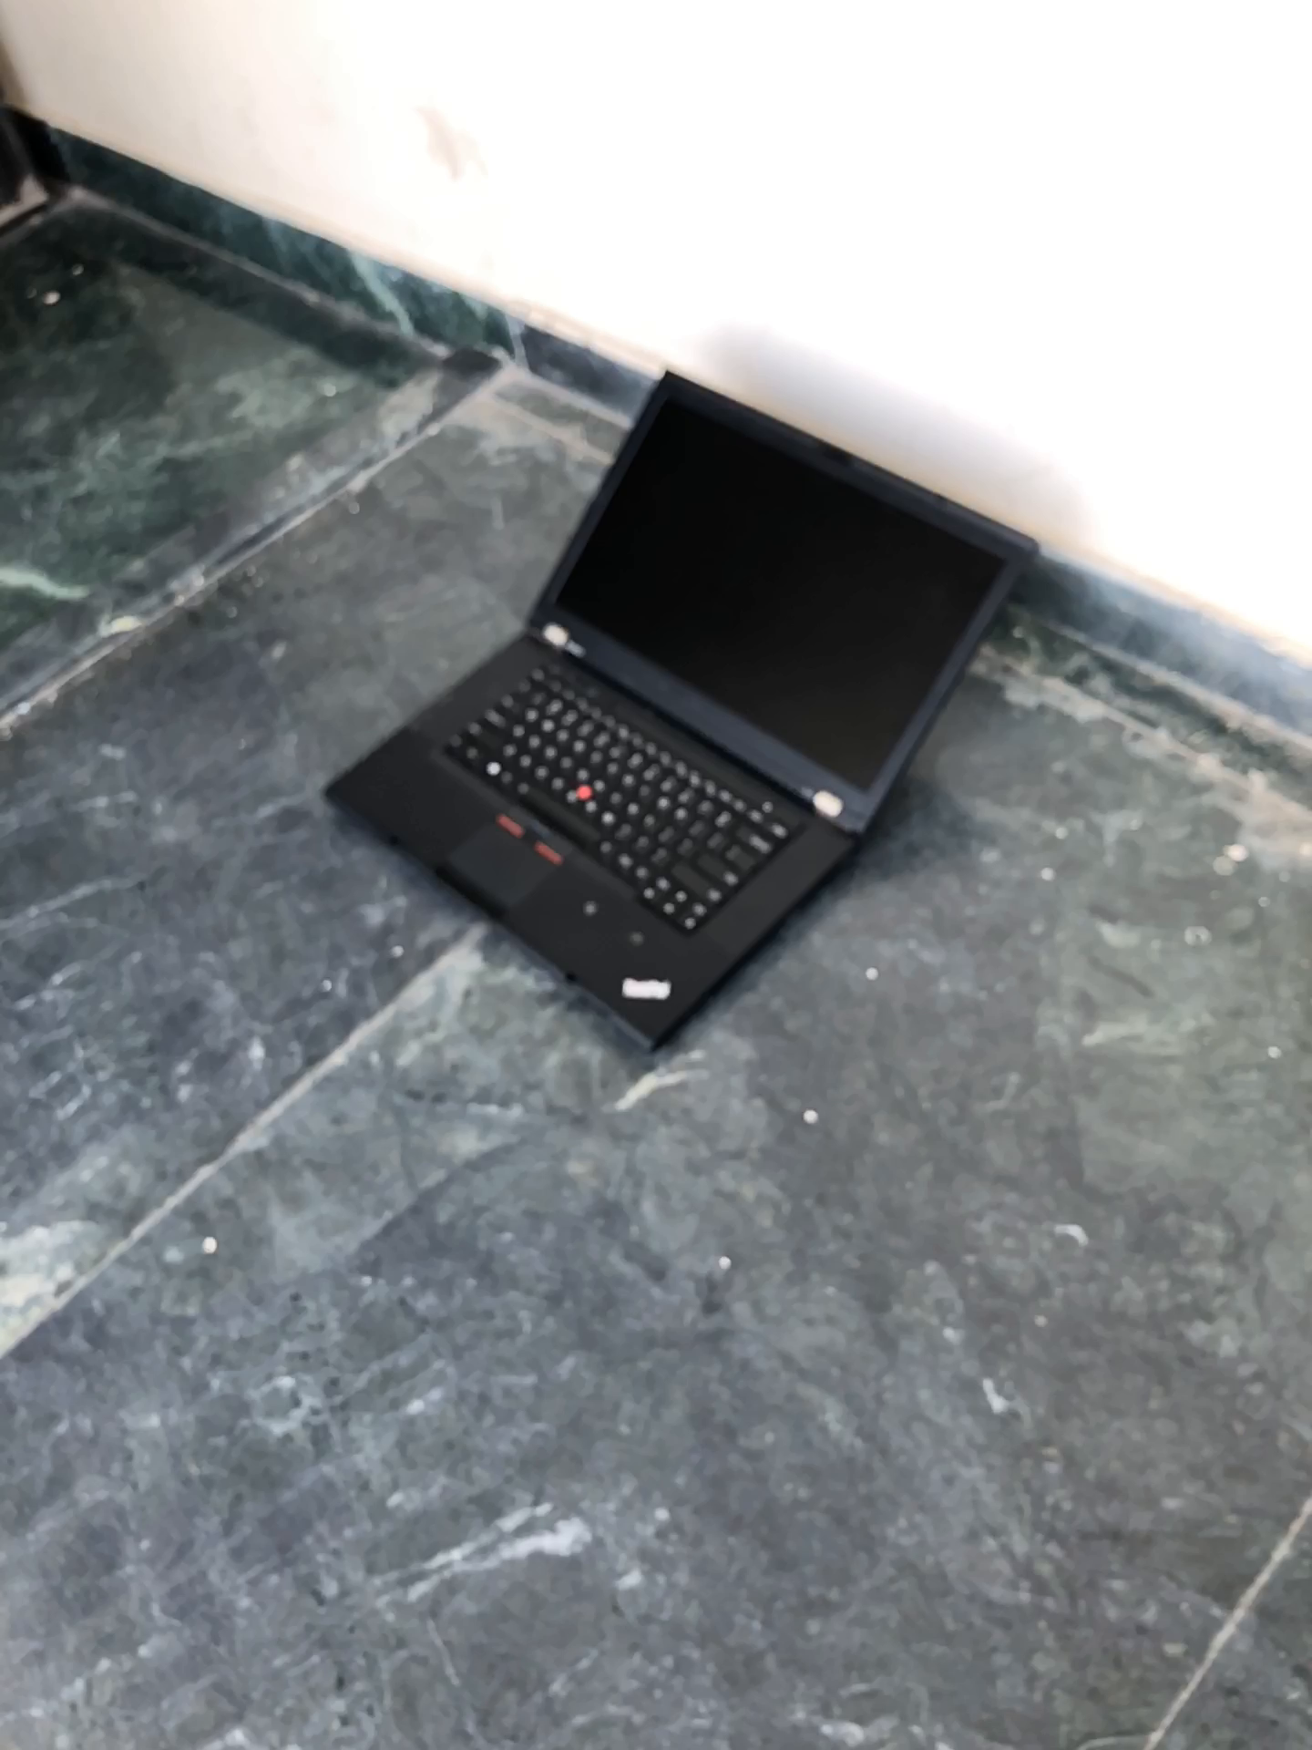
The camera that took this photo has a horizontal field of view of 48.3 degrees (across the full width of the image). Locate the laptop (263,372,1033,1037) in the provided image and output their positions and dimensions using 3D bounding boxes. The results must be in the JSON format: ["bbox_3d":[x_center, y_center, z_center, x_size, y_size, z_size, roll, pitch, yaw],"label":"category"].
[{"bbox_3d":[0.001,-0.134,0.962,0.311,0.115,0.376,35,65,29],"label":"laptop"}]
